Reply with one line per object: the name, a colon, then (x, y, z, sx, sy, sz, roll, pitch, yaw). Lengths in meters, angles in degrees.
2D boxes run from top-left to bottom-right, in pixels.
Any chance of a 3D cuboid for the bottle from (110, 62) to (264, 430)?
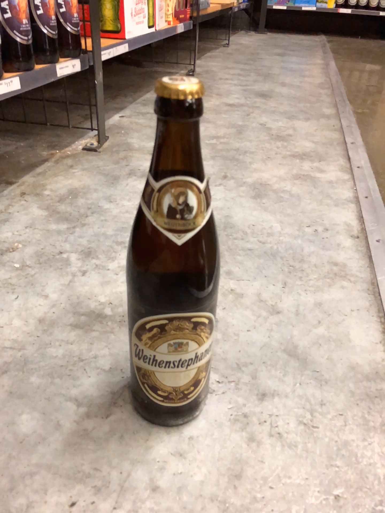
bottle: (-0.010, 0.010, 0.289, 0.070, 0.249, 0.070, 2, 32, -2)
